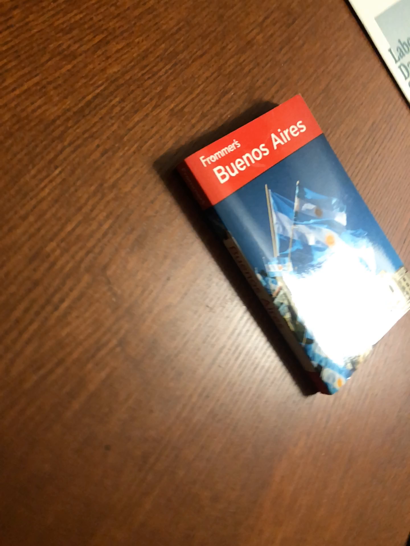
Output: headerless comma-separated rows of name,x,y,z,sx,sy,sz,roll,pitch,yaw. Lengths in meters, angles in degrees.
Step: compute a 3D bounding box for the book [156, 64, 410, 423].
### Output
book,0.088,-0.030,0.341,0.161,0.020,0.220,-40,101,-31
